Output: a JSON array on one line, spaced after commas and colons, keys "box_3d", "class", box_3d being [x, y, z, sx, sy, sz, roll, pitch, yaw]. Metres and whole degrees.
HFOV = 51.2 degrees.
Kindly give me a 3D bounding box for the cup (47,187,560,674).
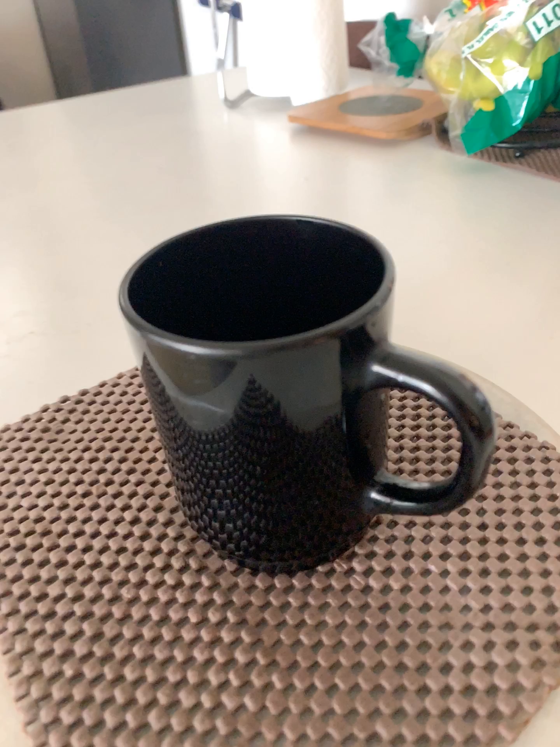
[{"box_3d": [0.009, 0.006, 0.166, 0.101, 0.080, 0.077, 19, 44, 30], "class": "cup"}]
